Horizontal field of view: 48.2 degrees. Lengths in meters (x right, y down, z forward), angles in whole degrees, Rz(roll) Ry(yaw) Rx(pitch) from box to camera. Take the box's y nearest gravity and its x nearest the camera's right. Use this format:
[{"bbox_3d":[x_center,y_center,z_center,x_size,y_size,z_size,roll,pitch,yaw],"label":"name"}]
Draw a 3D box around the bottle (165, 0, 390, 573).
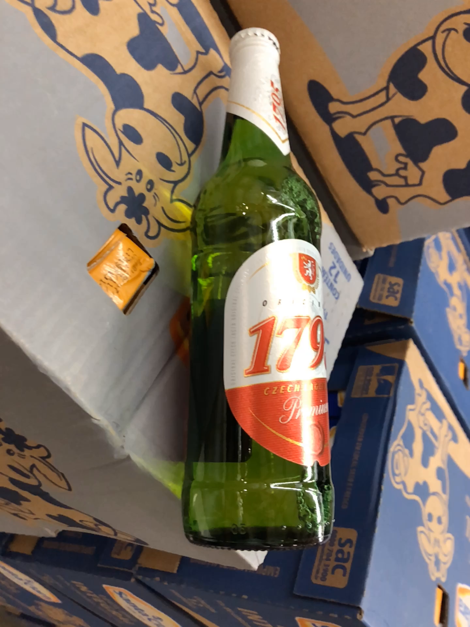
[{"bbox_3d":[0.016,-0.035,0.248,0.070,0.060,0.270,19,64,-48],"label":"bottle"}]
